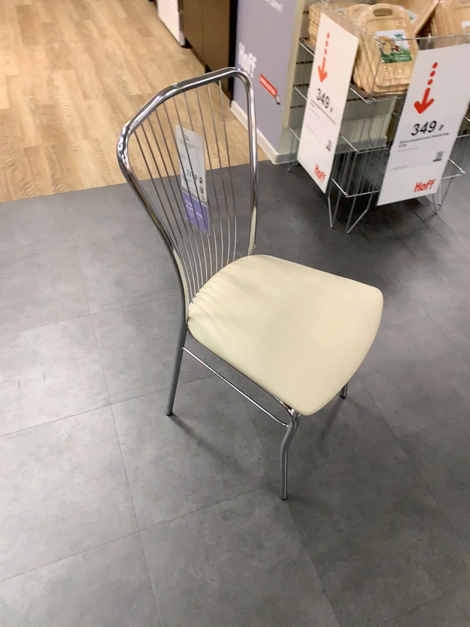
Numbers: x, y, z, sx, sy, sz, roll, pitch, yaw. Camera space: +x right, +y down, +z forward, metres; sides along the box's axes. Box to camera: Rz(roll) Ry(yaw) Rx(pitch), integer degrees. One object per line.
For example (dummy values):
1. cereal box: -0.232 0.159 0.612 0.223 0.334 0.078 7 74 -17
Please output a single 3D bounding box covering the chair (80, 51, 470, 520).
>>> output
1. chair: 0.071 -0.012 1.217 0.552 0.965 0.473 29 52 21
